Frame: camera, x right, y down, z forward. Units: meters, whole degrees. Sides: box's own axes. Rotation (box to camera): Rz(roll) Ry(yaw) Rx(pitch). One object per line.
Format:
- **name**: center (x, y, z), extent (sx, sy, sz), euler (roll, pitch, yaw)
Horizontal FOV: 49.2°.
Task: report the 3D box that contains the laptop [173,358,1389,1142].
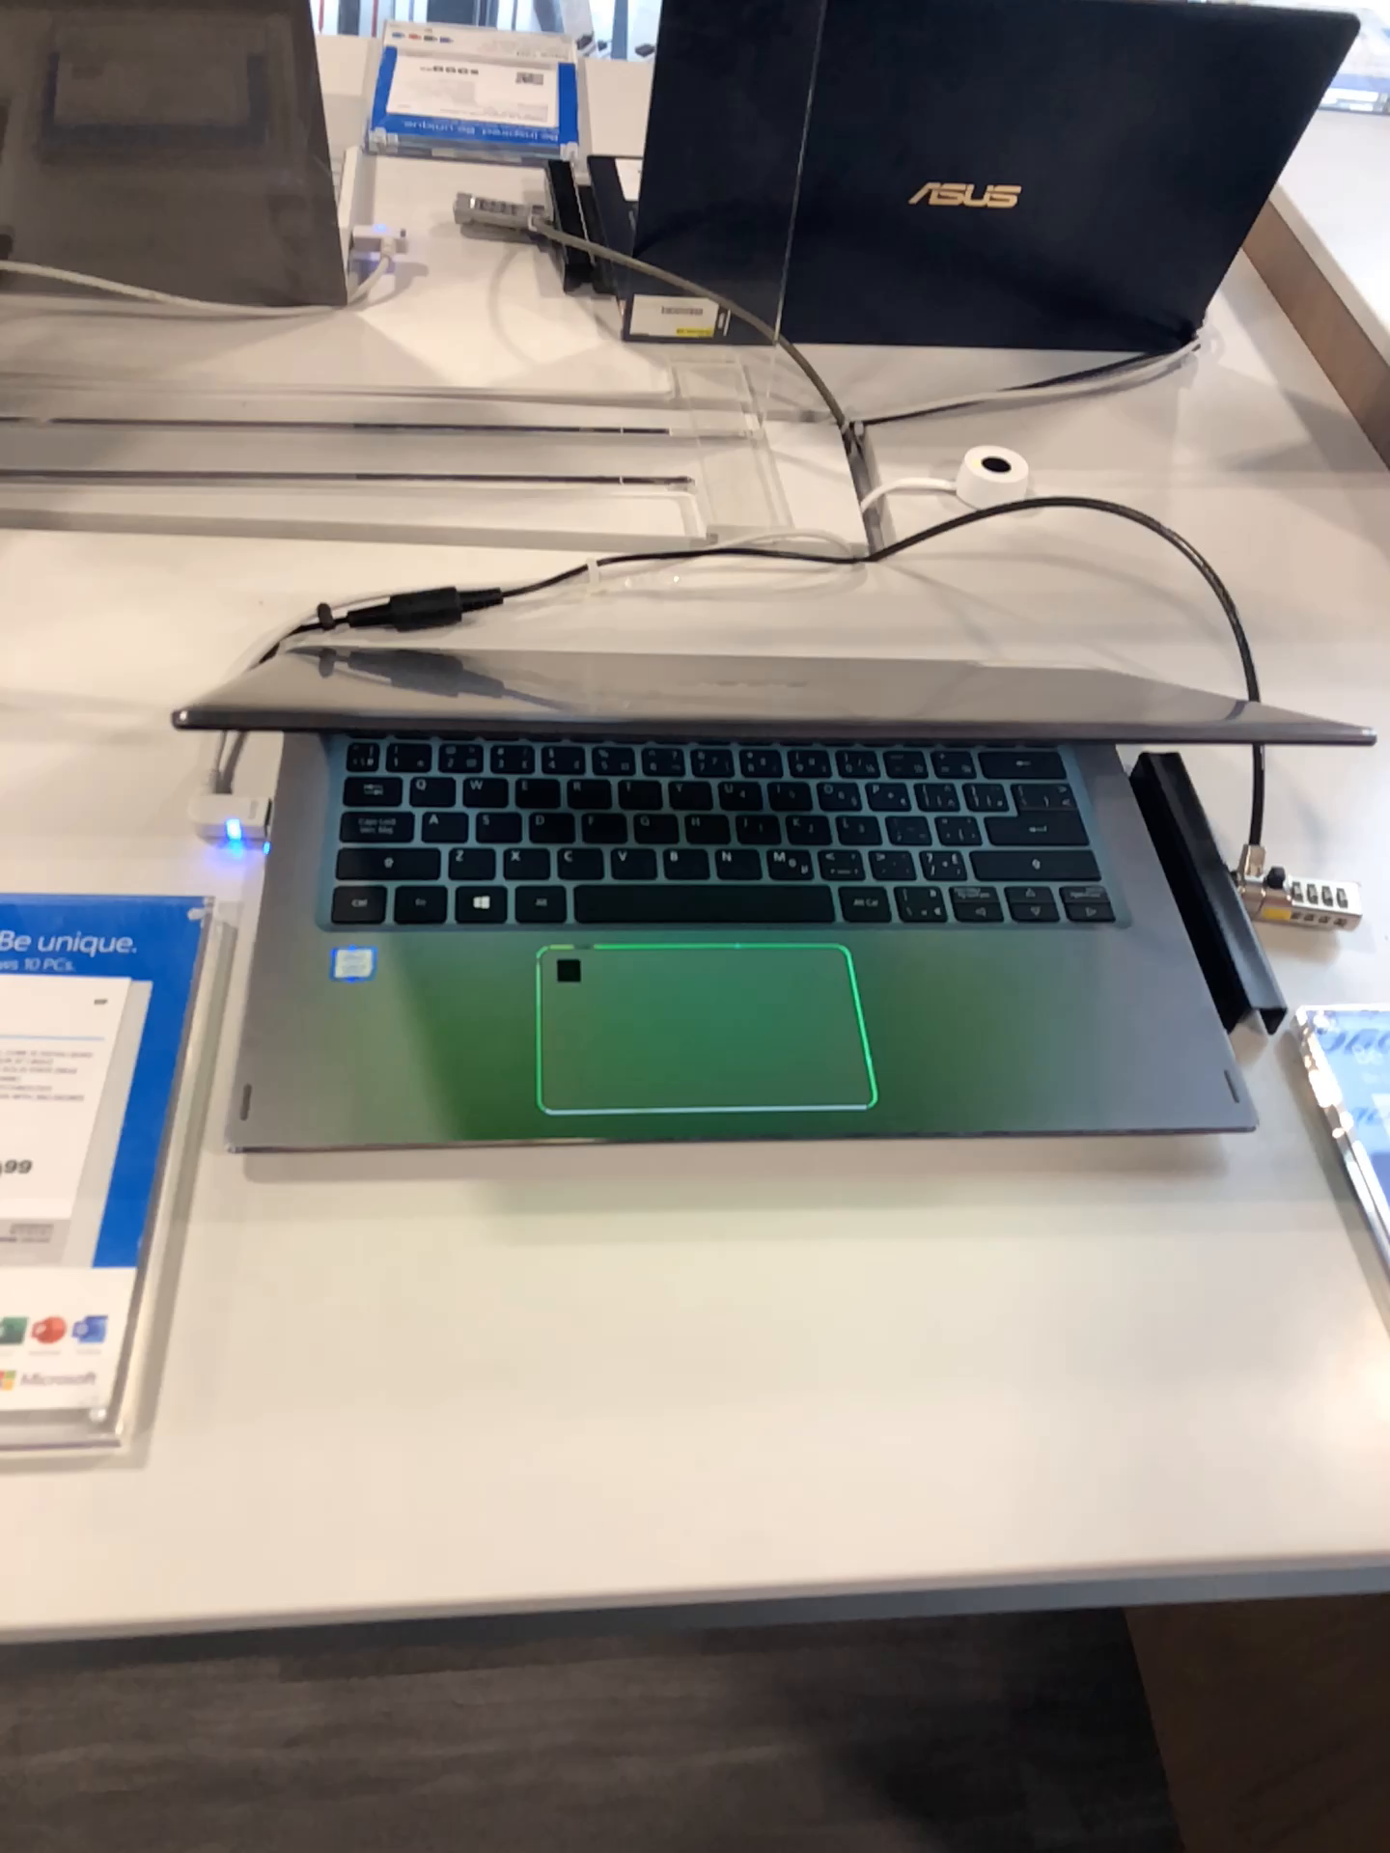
- **laptop**: center (0.020, -0.060, 0.473), extent (0.301, 0.123, 0.212), euler (0, 49, -7)
